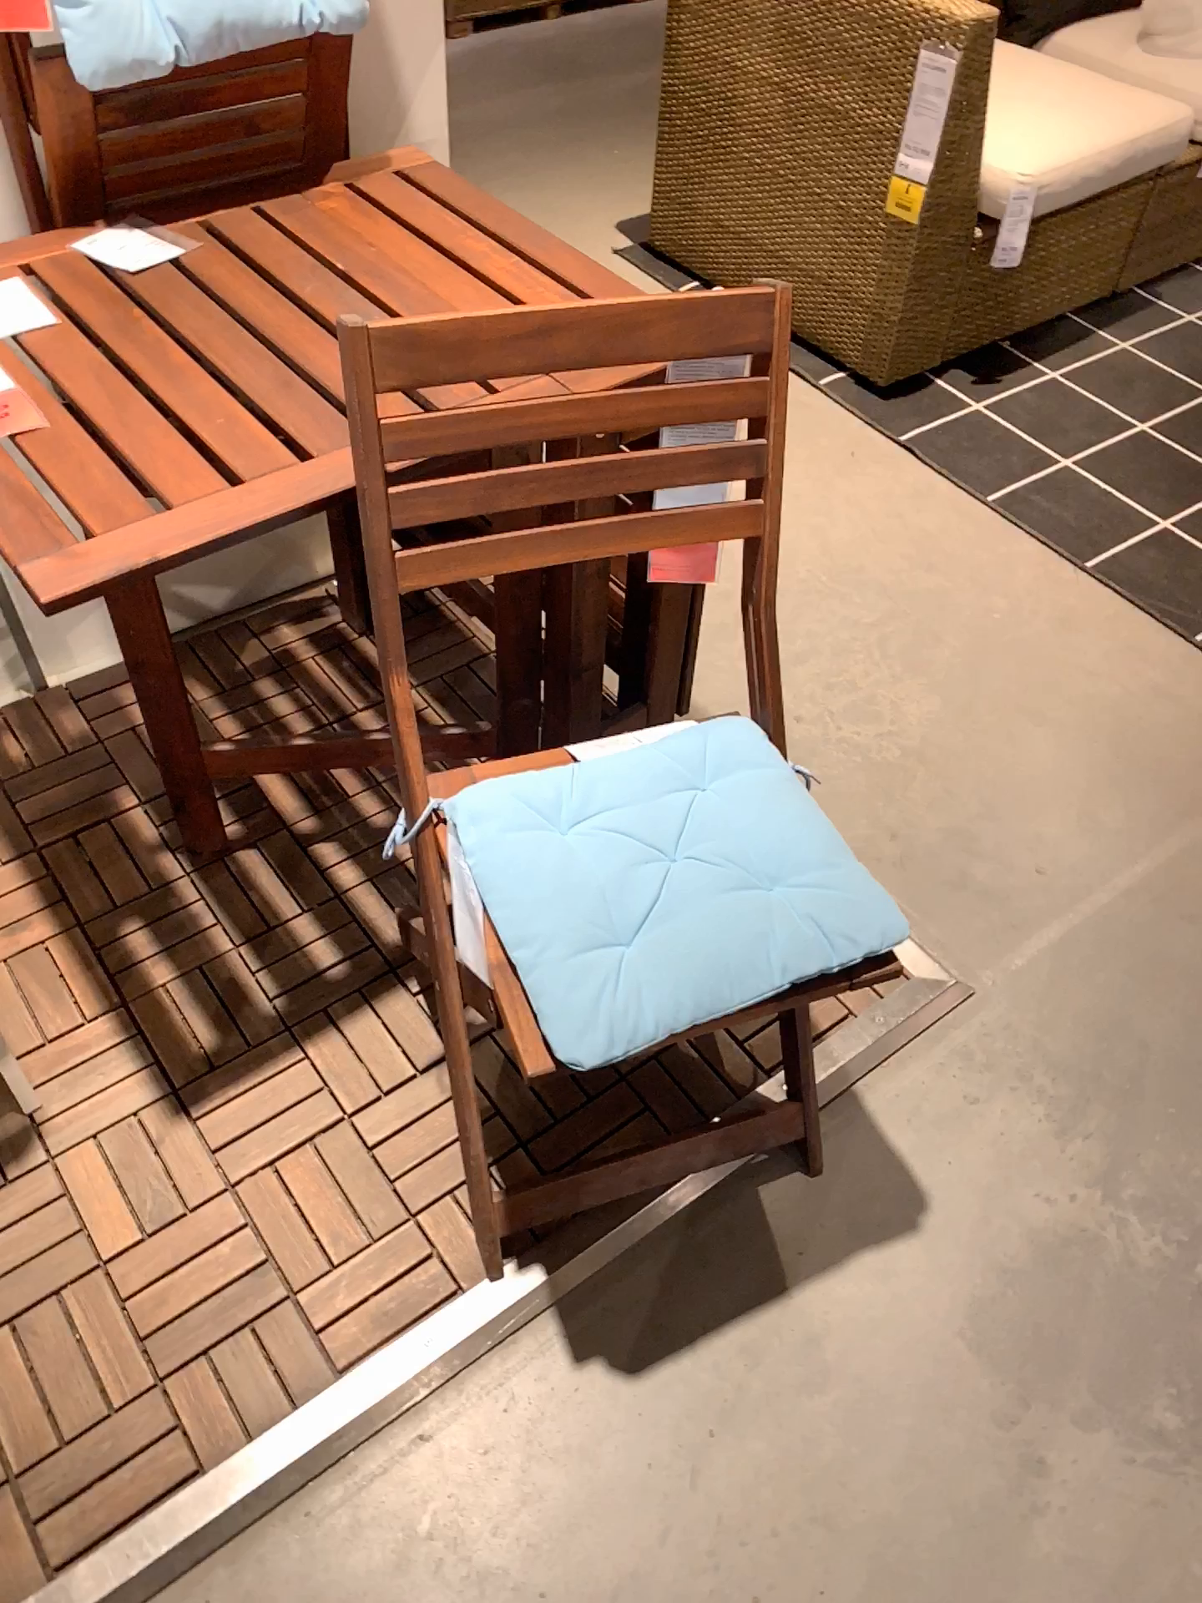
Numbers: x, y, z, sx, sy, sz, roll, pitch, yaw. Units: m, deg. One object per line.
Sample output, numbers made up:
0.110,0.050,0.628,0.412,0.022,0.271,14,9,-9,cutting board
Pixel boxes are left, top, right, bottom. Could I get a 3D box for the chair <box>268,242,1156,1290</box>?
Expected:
0.026,-0.004,1.163,0.470,0.778,0.521,-13,50,-15,chair
